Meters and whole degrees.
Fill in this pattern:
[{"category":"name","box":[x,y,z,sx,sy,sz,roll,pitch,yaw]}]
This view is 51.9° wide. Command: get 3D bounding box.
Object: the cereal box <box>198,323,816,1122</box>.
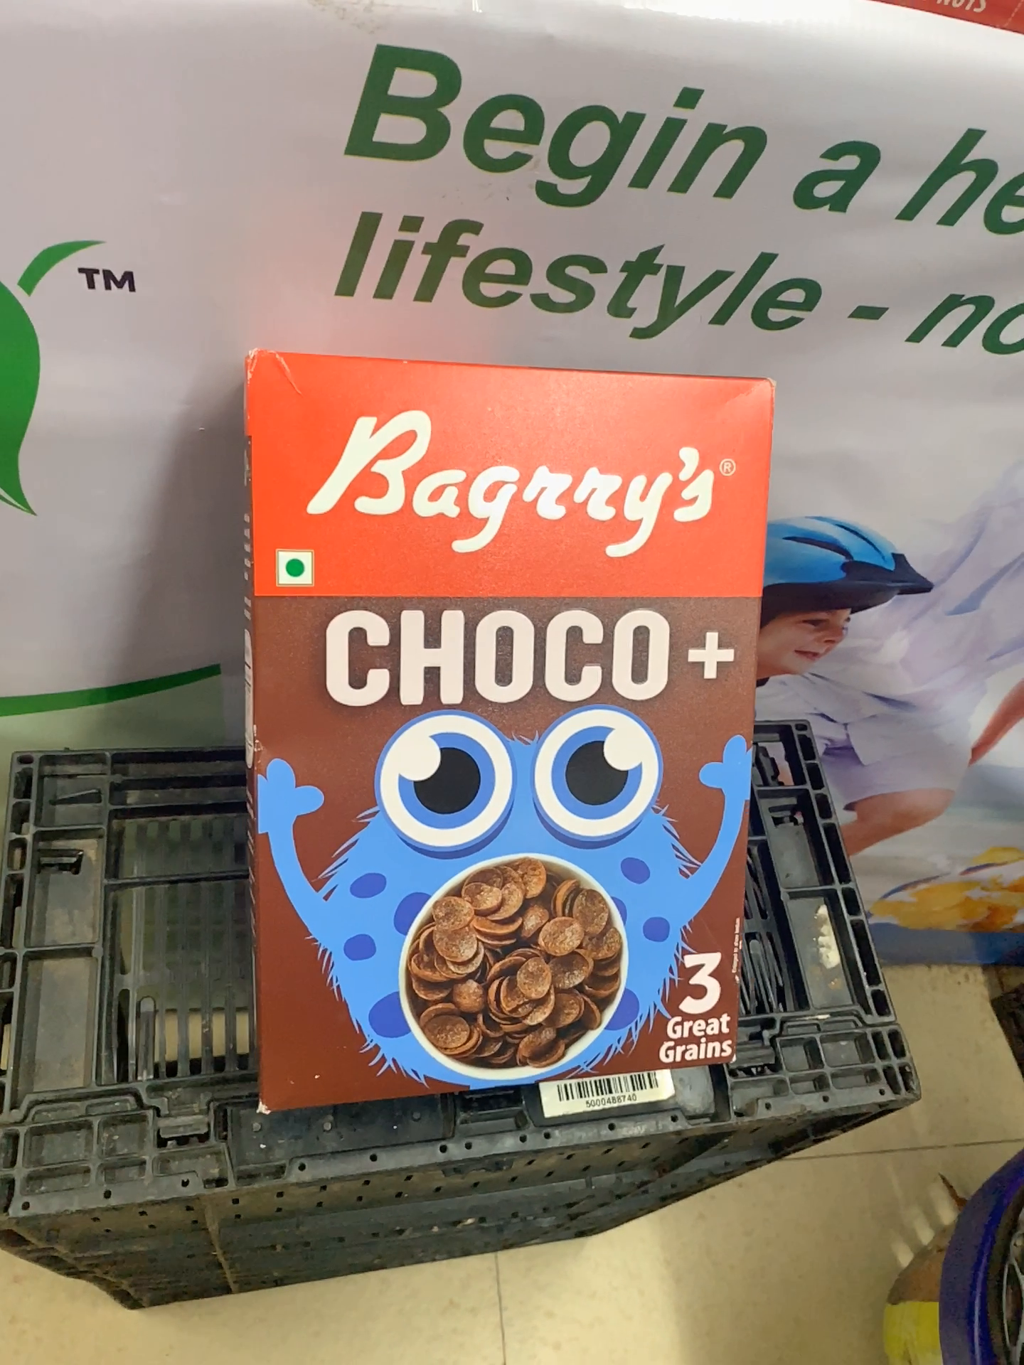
[{"category":"cereal box","box":[-0.007,0.011,0.371,0.190,0.080,0.240,-1,99,-14]}]
